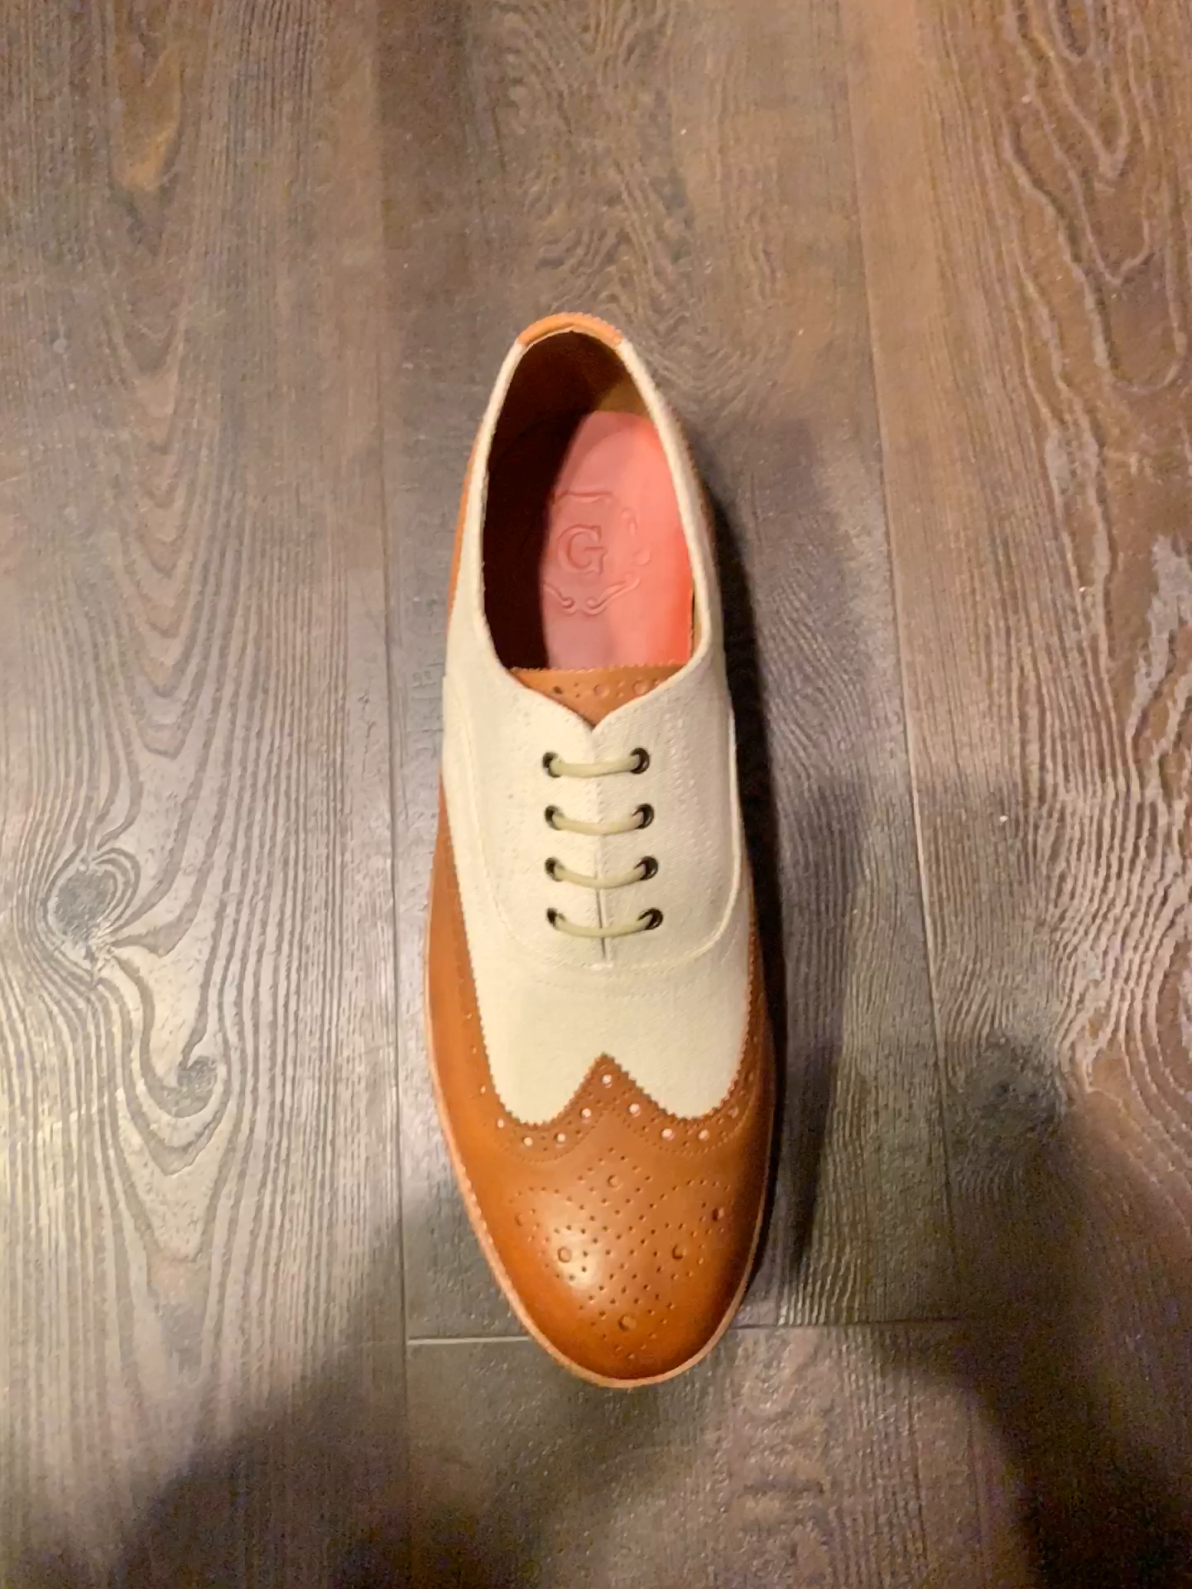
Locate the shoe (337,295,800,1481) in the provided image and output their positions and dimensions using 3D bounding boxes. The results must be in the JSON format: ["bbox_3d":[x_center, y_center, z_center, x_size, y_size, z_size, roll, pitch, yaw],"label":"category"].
[{"bbox_3d":[-0.004,0.022,0.373,0.110,0.120,0.300,-1,81,4],"label":"shoe"}]
